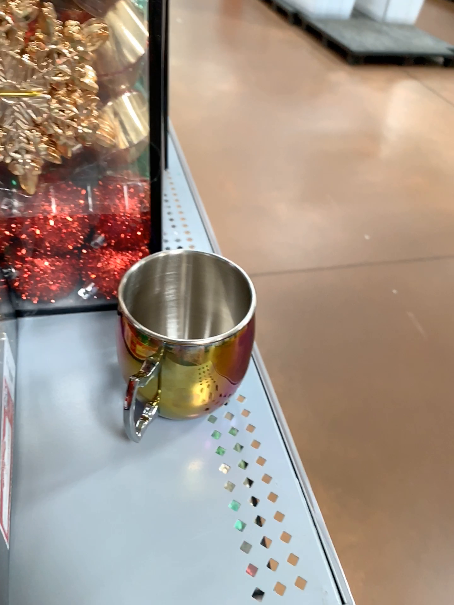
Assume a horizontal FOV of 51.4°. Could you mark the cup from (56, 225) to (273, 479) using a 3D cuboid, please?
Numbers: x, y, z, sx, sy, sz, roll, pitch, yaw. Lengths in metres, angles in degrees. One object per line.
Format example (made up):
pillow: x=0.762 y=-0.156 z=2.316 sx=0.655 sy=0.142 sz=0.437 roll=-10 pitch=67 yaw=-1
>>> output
cup: x=-0.033 y=0.028 z=0.303 sx=0.087 sy=0.090 sz=0.111 roll=17 pitch=44 yaw=9
